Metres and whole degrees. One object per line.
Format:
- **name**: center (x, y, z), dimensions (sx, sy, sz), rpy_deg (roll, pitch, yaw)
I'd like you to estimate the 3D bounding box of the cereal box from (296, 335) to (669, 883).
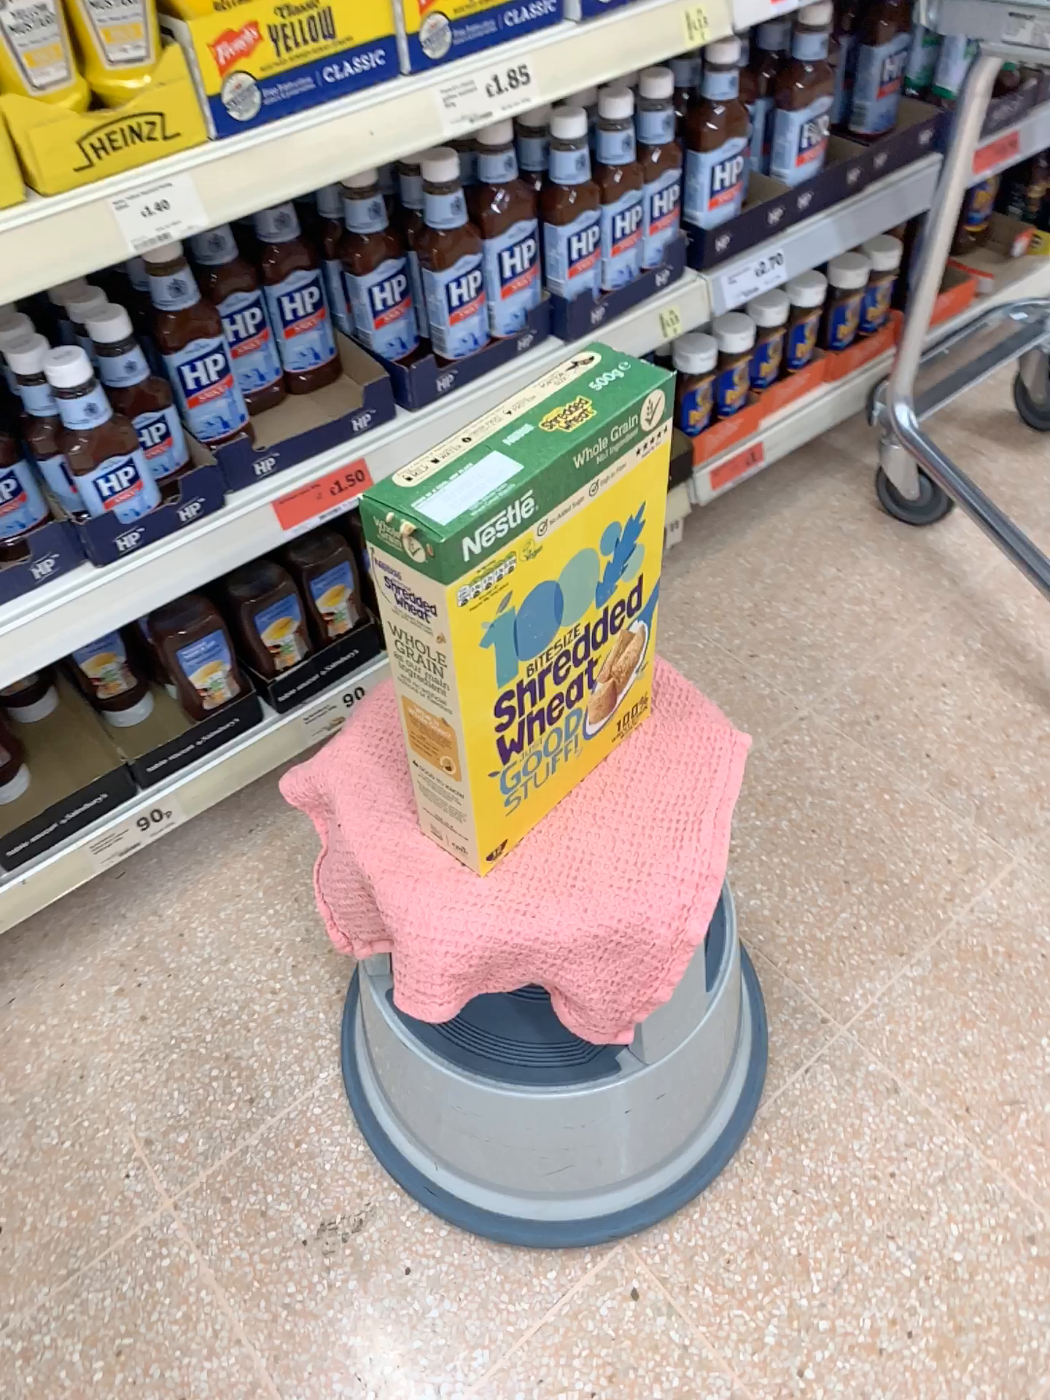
- **cereal box**: center (-0.010, -0.048, 0.675), dimensions (0.070, 0.278, 0.211), rpy_deg (34, 58, 30)
